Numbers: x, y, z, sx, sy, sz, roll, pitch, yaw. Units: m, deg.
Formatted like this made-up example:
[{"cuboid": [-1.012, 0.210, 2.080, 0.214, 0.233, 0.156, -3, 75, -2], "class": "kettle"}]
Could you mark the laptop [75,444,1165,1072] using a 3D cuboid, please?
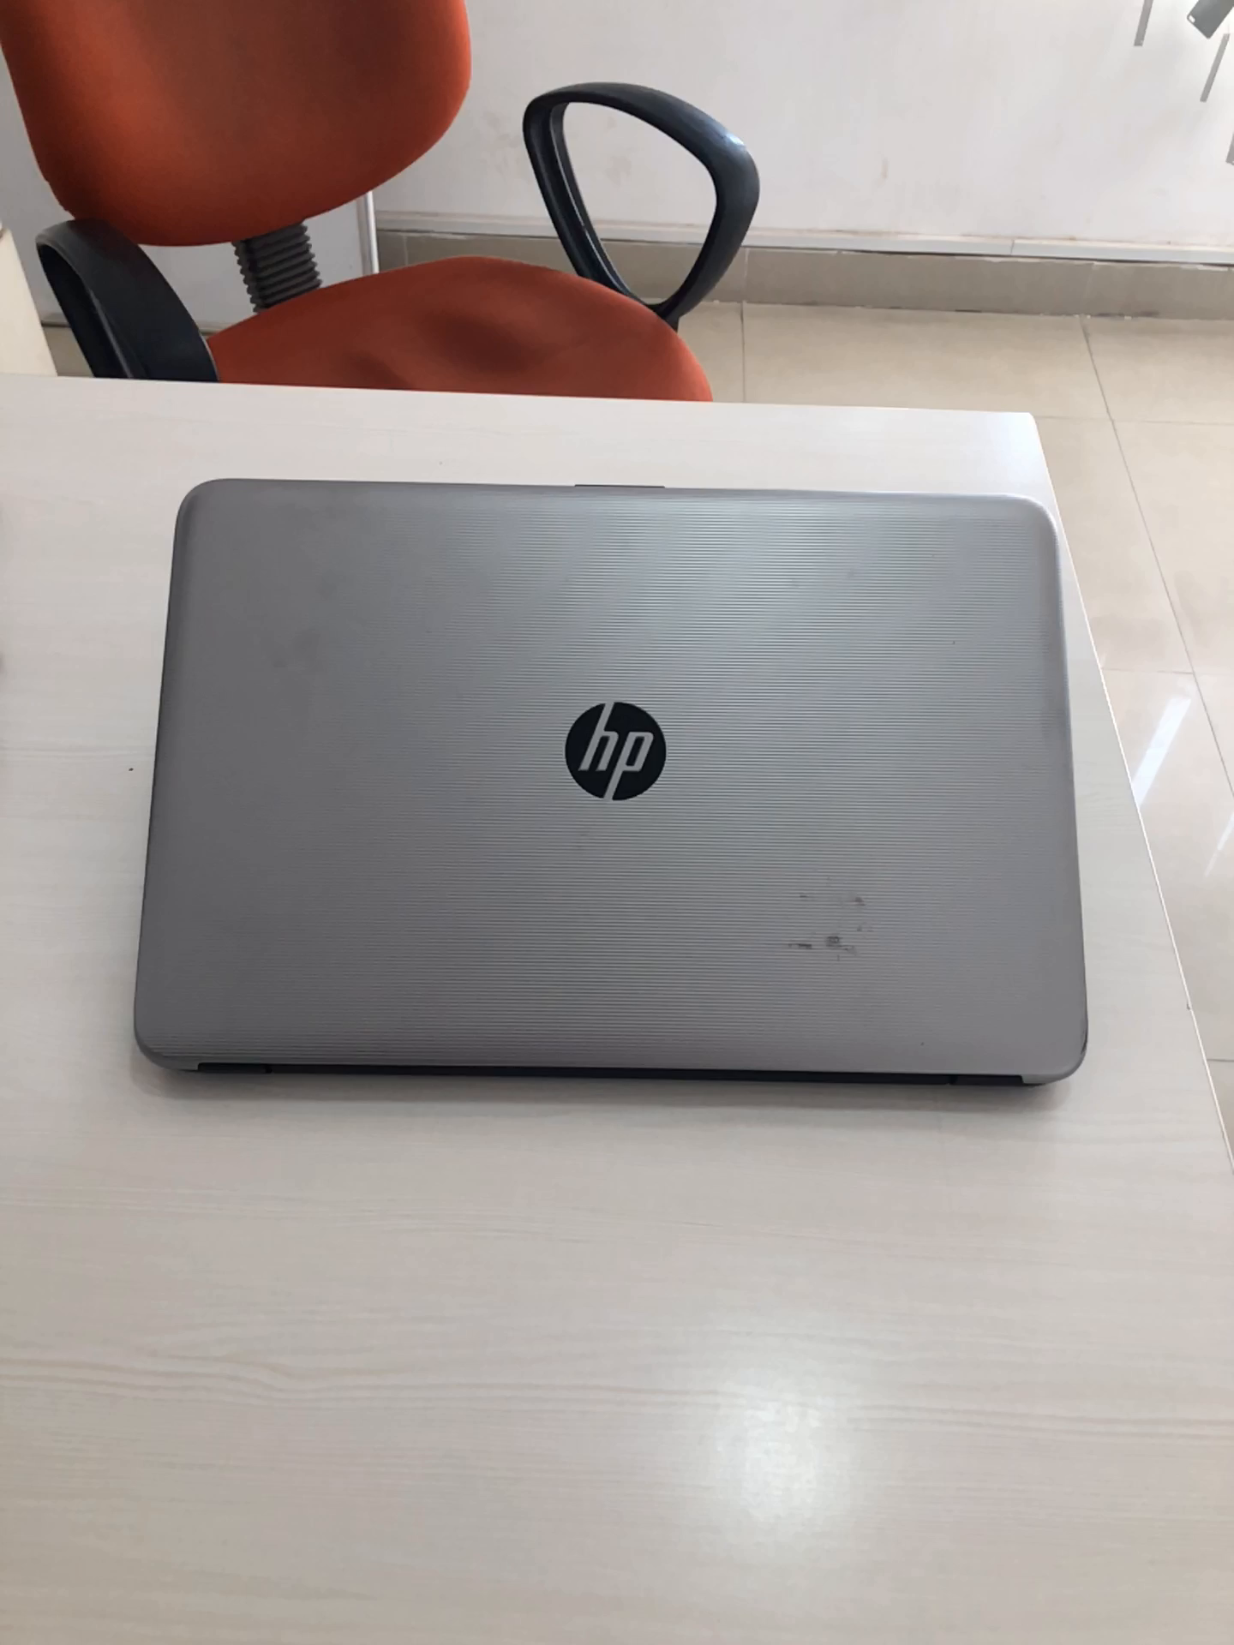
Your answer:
[{"cuboid": [-0.003, -0.036, 0.585, 0.369, 0.120, 0.253, 0, 50, 0], "class": "laptop"}]
